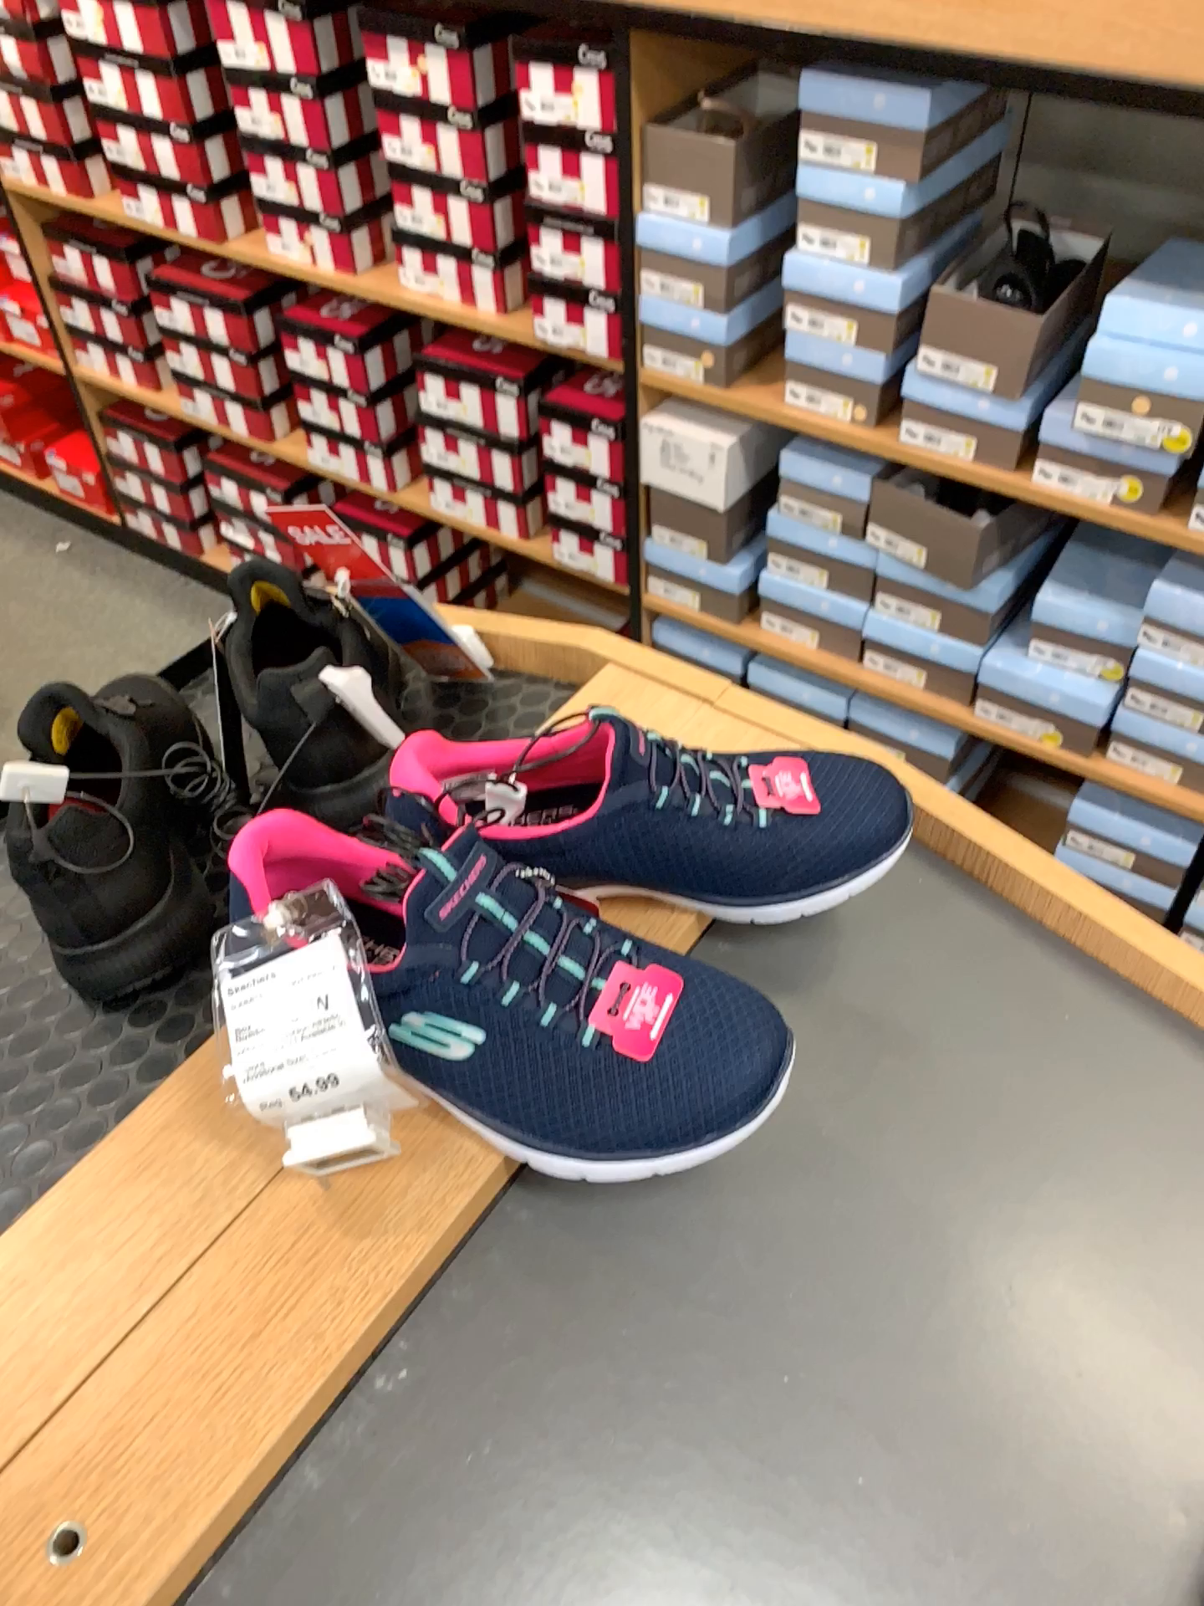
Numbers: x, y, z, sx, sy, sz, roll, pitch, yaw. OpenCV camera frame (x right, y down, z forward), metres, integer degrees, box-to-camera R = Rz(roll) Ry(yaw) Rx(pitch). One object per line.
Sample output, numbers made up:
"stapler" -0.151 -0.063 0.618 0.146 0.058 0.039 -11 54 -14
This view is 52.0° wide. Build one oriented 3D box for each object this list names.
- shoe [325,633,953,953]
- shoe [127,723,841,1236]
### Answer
"shoe" 0.015 -0.005 0.577 0.260 0.090 0.100 -3 46 0
"shoe" -0.043 0.066 0.507 0.250 0.100 0.110 14 48 16
